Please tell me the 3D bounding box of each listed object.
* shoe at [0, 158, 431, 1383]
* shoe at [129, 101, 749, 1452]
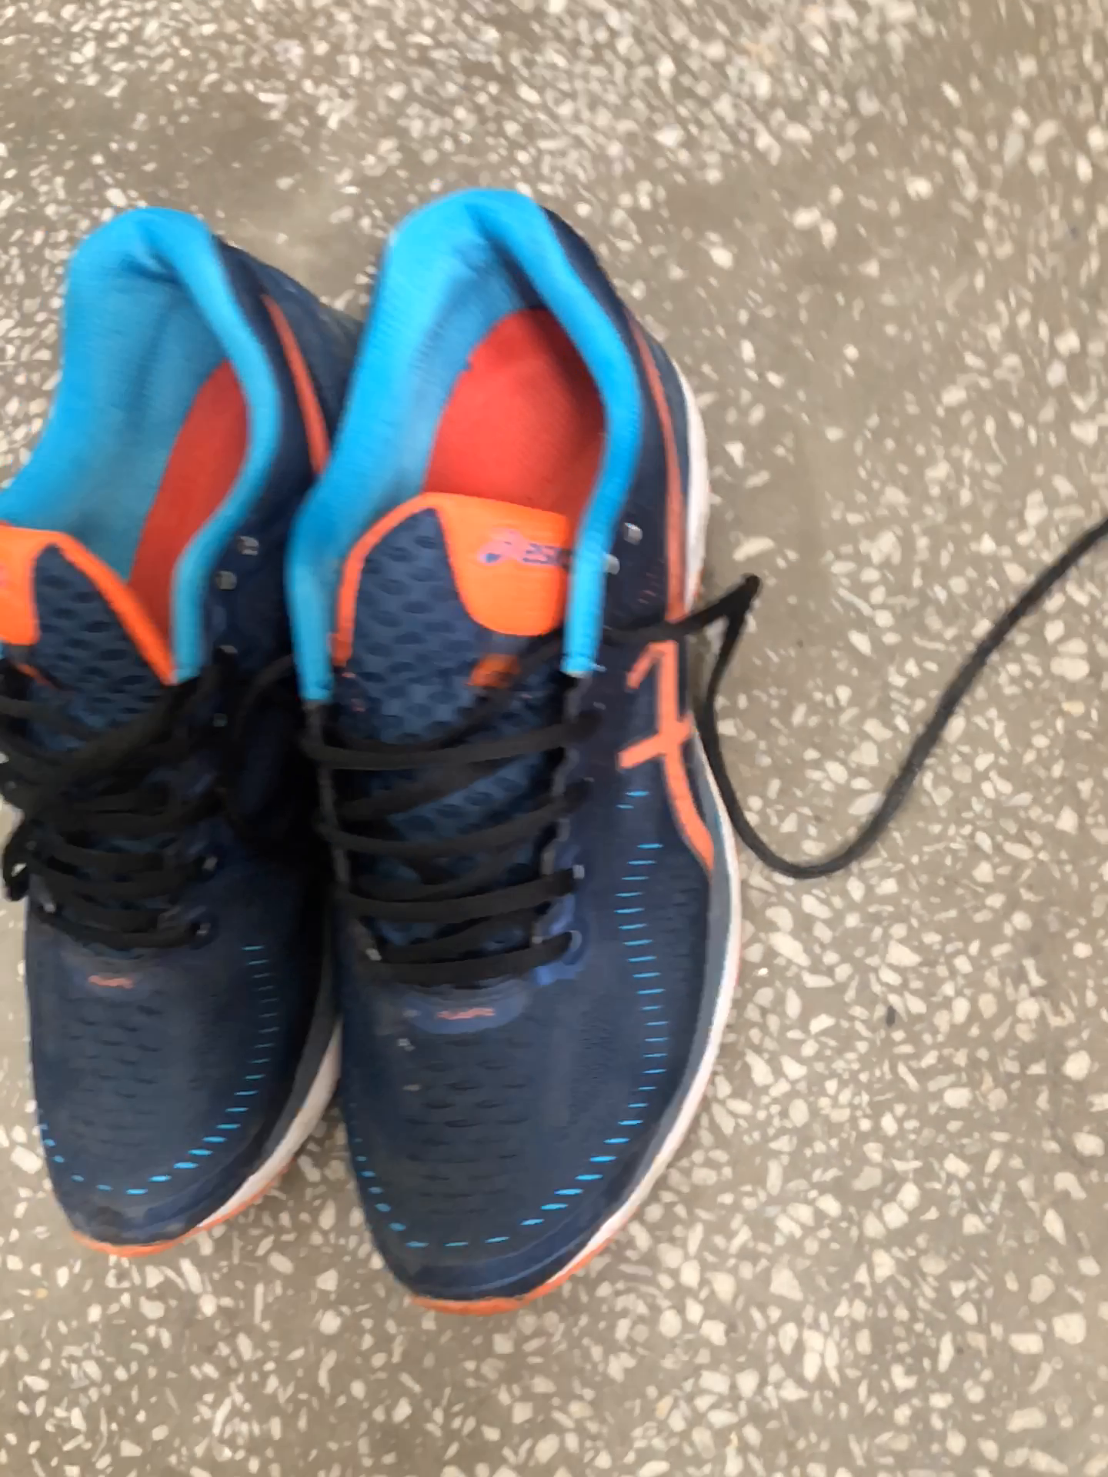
[{"bbox_3d":[-0.119,0.003,0.347,0.118,0.100,0.288,1,77,14],"label":"shoe"},{"bbox_3d":[-0.014,0.003,0.320,0.118,0.100,0.288,-1,77,14],"label":"shoe"}]
